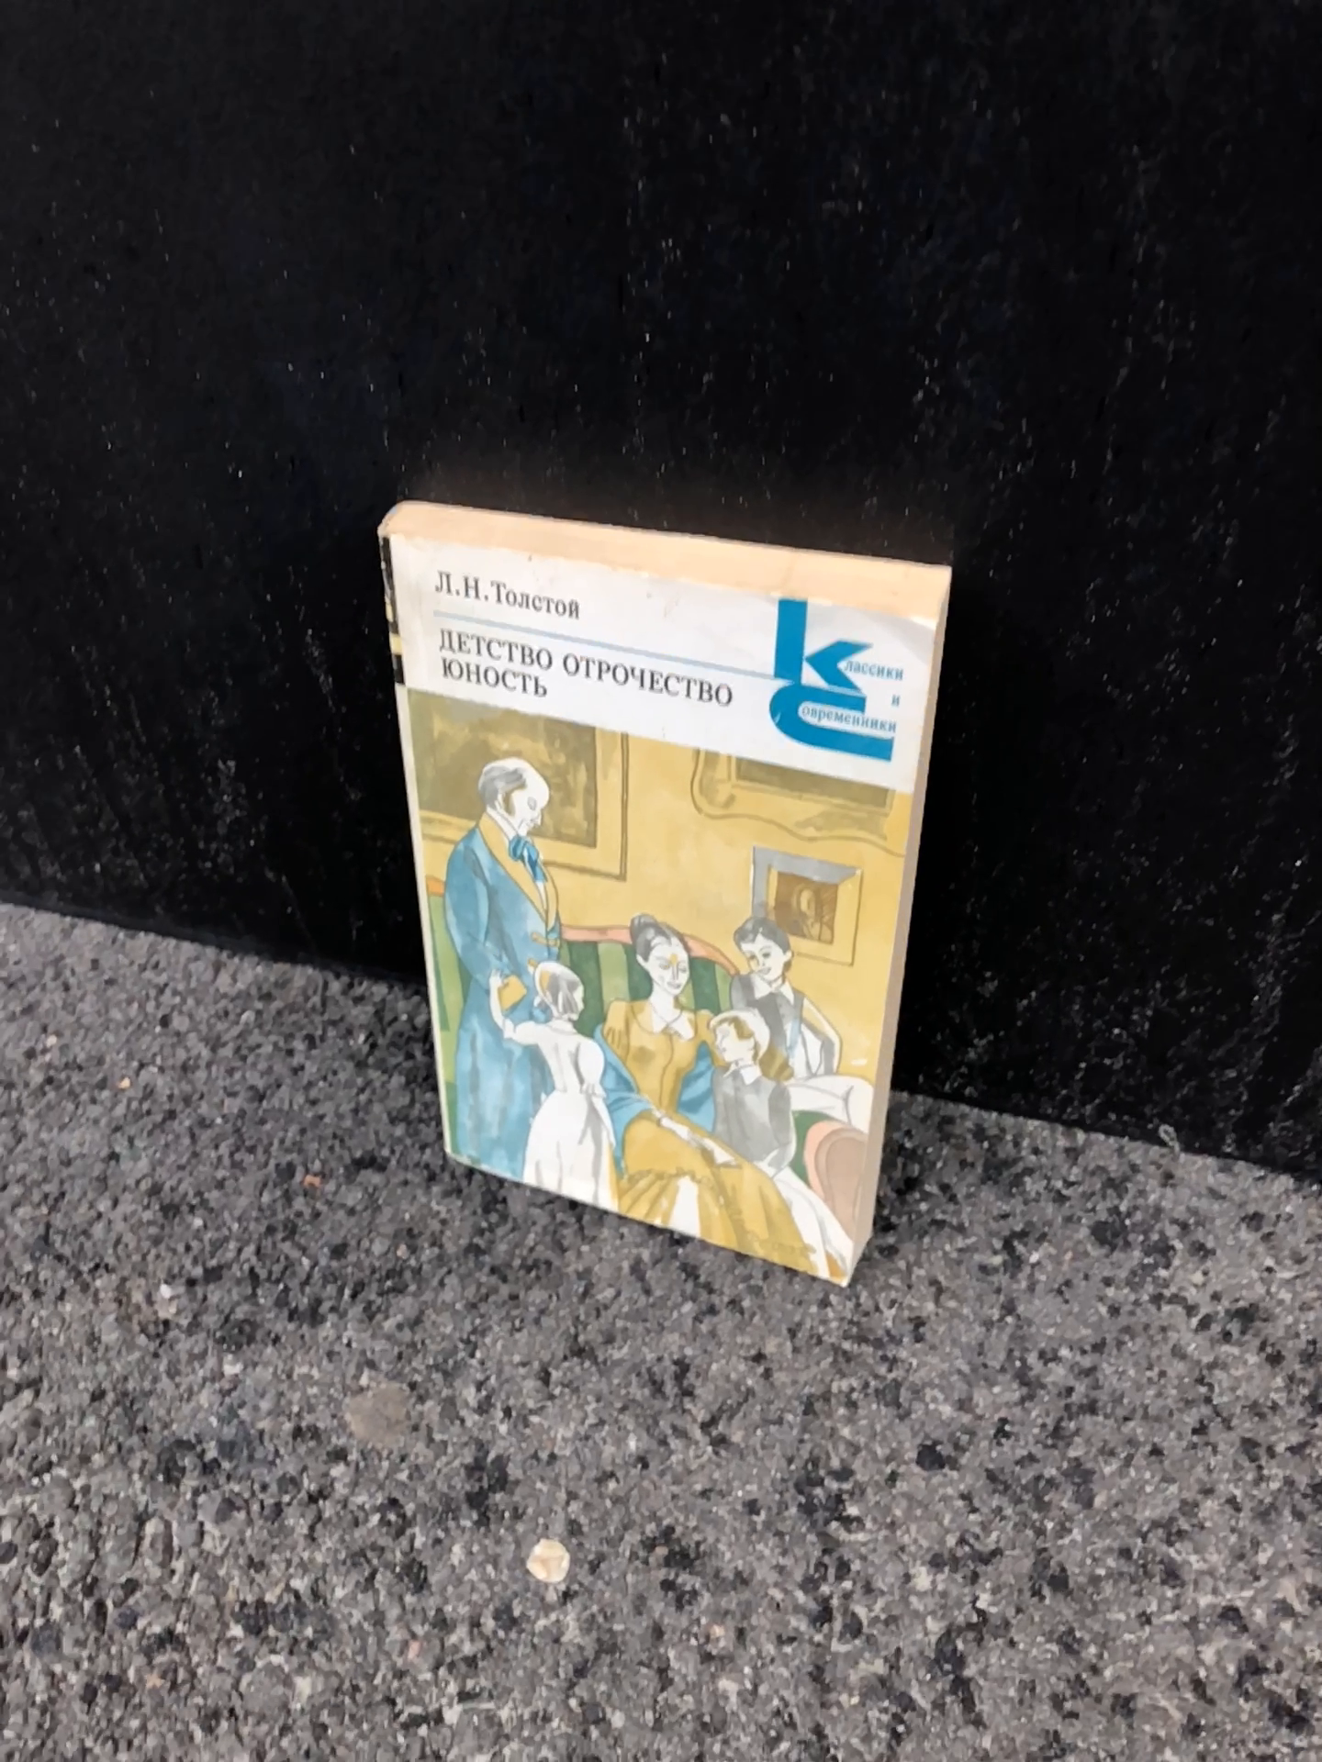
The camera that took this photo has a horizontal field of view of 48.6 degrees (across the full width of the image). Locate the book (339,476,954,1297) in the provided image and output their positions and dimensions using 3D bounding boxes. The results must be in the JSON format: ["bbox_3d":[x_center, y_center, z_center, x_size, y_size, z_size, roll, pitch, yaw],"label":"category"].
[{"bbox_3d":[-0.006,0.008,0.345,0.120,0.184,0.030,13,37,17],"label":"book"}]
